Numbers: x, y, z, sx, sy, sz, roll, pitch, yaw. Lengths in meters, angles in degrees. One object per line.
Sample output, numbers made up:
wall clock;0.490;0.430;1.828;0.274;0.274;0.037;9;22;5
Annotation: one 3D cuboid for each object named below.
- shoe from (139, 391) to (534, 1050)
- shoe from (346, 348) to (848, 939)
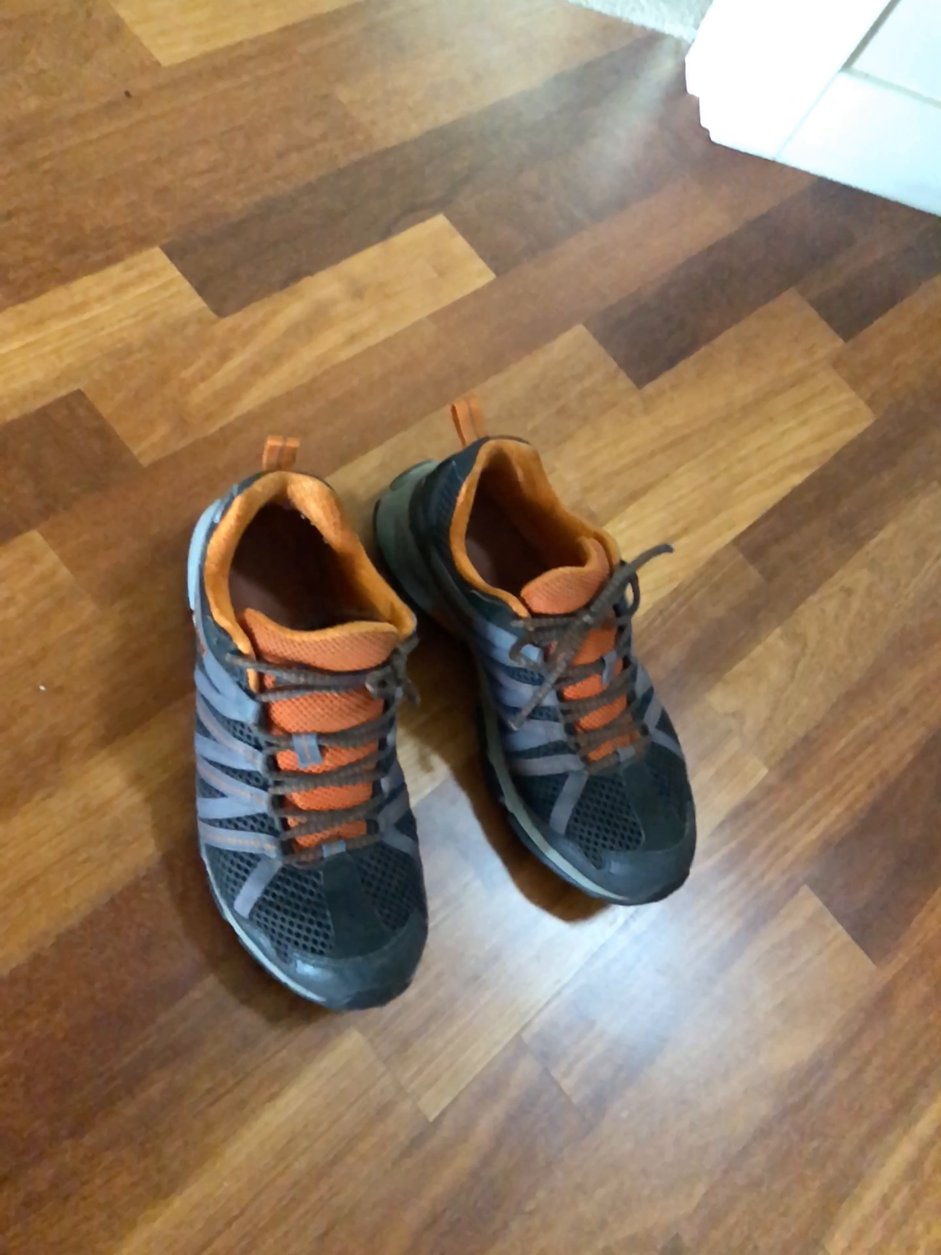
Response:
shoe;-0.079;0.041;0.500;0.113;0.117;0.282;-8;71;-22
shoe;0.056;0.007;0.566;0.119;0.117;0.279;-22;76;-26
